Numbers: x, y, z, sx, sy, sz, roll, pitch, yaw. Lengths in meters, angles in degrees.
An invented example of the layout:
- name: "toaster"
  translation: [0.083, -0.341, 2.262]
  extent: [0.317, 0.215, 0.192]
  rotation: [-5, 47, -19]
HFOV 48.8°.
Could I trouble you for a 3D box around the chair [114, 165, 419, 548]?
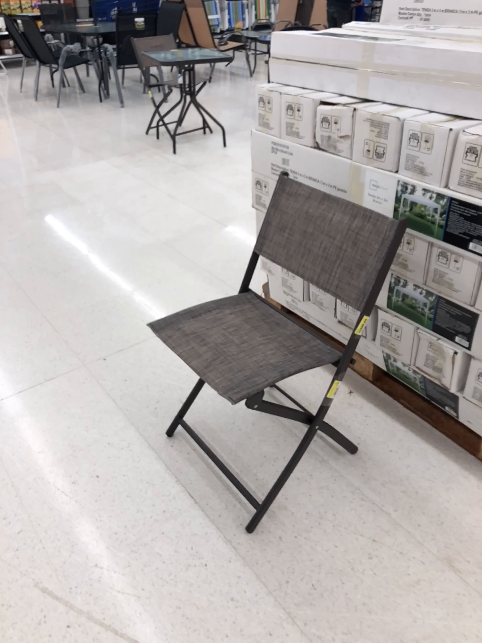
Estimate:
- name: "chair"
  translation: [0.051, 0.062, 1.440]
  extent: [0.501, 0.754, 0.513]
  rotation: [-22, 39, -29]
